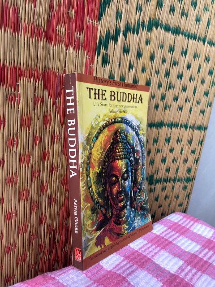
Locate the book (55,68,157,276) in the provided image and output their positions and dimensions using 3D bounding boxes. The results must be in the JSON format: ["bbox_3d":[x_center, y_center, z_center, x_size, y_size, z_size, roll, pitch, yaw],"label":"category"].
[{"bbox_3d":[0.008,0.025,0.302,0.030,0.207,0.146,0,3,43],"label":"book"}]
